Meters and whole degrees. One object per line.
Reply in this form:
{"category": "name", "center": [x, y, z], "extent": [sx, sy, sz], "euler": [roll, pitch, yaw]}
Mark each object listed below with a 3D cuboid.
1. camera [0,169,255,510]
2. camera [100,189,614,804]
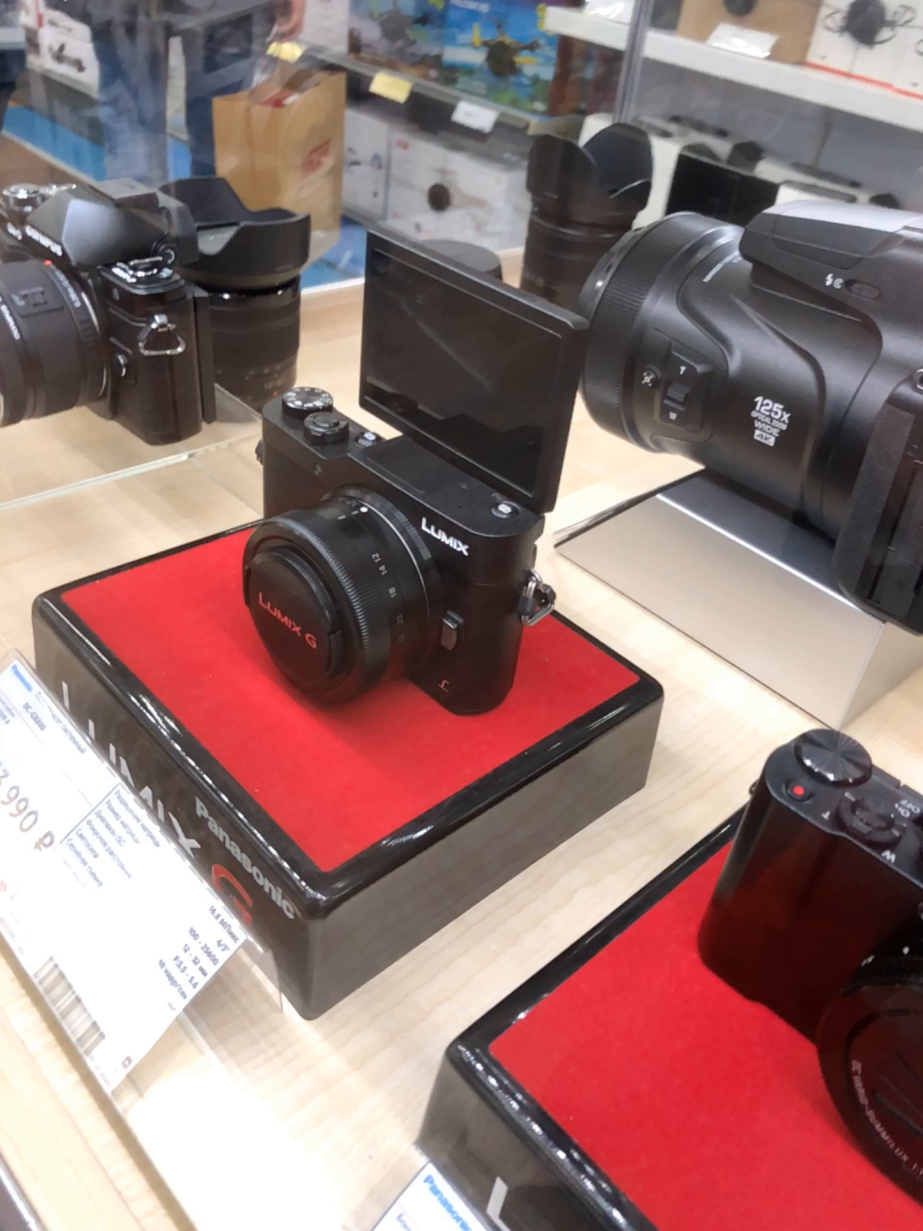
{"category": "camera", "center": [-0.154, -0.113, 0.396], "extent": [0.103, 0.080, 0.108], "euler": [-24, 47, -36]}
{"category": "camera", "center": [-0.033, -0.037, 0.282], "extent": [0.108, 0.120, 0.070], "euler": [33, 43, 31]}
